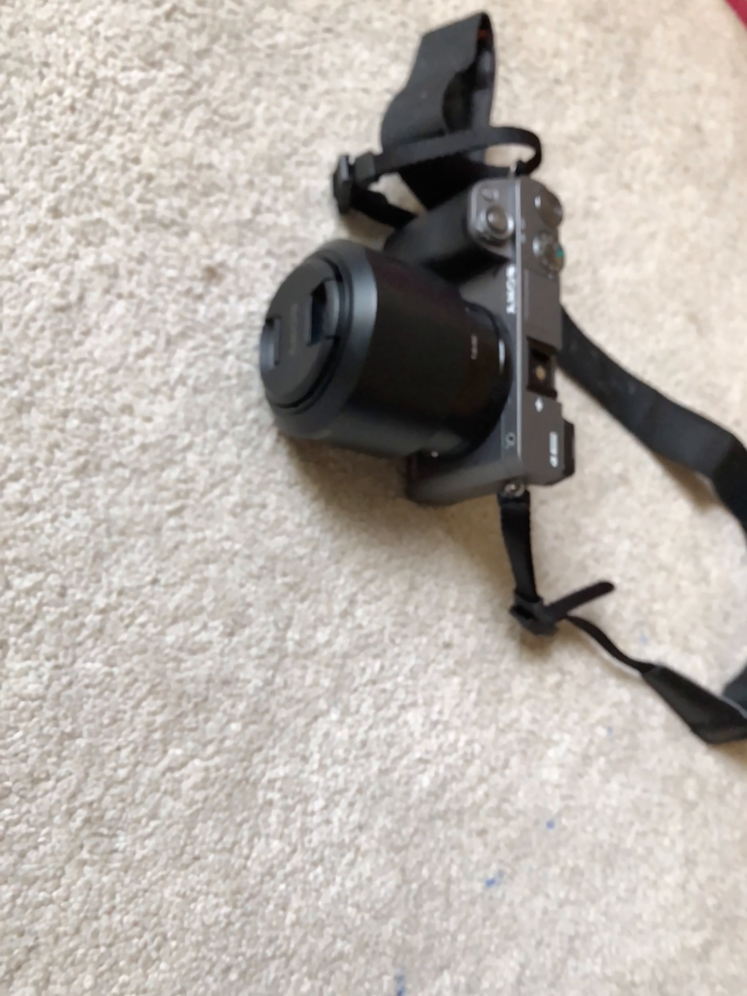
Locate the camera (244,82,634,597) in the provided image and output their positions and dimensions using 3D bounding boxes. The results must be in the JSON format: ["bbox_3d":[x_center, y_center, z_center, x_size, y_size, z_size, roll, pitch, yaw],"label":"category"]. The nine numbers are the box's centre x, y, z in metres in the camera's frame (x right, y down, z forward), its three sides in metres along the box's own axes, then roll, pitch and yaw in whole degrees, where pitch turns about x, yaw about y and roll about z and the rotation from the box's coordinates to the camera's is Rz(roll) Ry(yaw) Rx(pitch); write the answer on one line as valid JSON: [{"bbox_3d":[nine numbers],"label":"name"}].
[{"bbox_3d":[0.023,-0.042,0.294,0.110,0.070,0.140,10,74,-36],"label":"camera"}]
